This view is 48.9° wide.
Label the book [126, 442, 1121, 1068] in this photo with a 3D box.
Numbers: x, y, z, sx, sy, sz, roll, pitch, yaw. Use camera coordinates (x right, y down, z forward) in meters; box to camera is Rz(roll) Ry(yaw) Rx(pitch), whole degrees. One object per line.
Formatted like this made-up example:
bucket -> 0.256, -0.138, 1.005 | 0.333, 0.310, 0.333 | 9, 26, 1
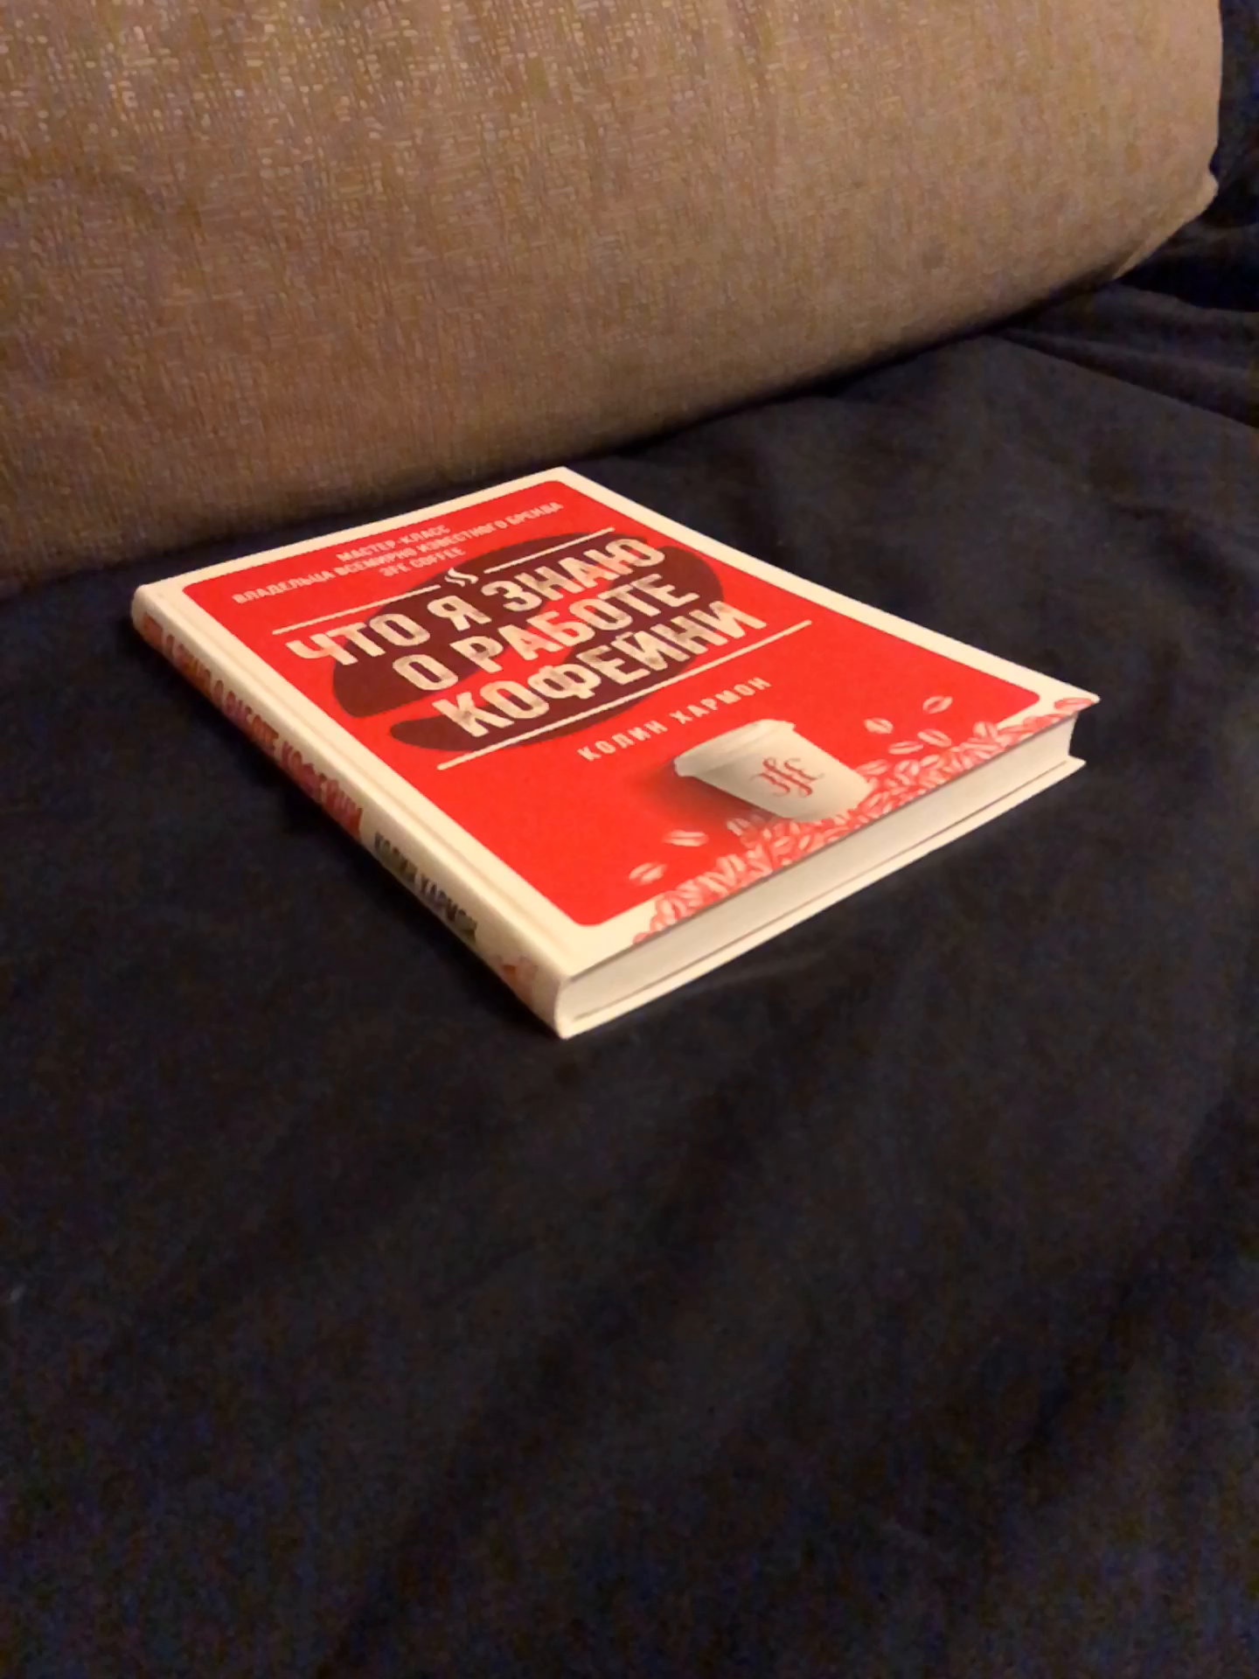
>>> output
book -> -0.016, -0.045, 0.359 | 0.153, 0.020, 0.223 | -25, 41, -27
